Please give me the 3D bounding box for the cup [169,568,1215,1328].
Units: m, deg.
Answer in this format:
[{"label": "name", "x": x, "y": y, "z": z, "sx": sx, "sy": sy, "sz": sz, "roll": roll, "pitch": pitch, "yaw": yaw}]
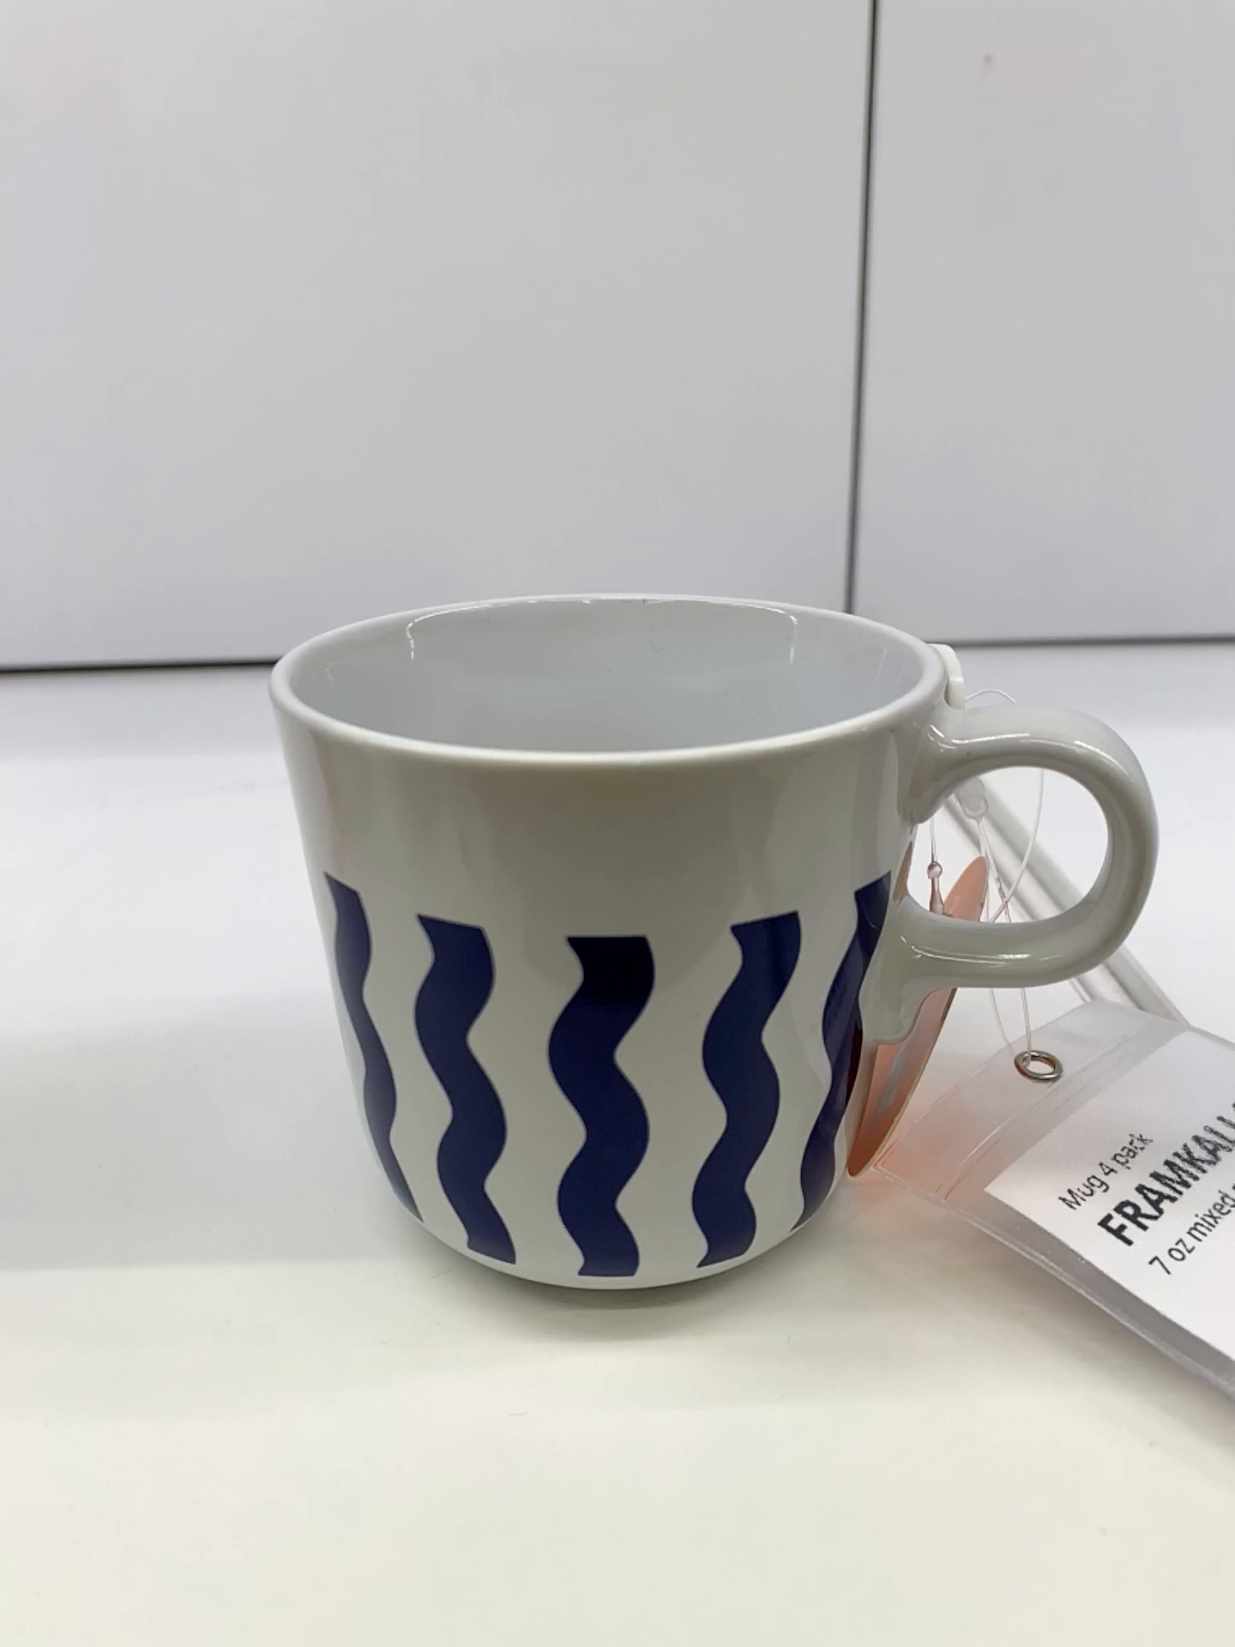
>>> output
[{"label": "cup", "x": 0.008, "y": 0.009, "z": 0.173, "sx": 0.101, "sy": 0.071, "sz": 0.076, "roll": -2, "pitch": 20, "yaw": -1}]
